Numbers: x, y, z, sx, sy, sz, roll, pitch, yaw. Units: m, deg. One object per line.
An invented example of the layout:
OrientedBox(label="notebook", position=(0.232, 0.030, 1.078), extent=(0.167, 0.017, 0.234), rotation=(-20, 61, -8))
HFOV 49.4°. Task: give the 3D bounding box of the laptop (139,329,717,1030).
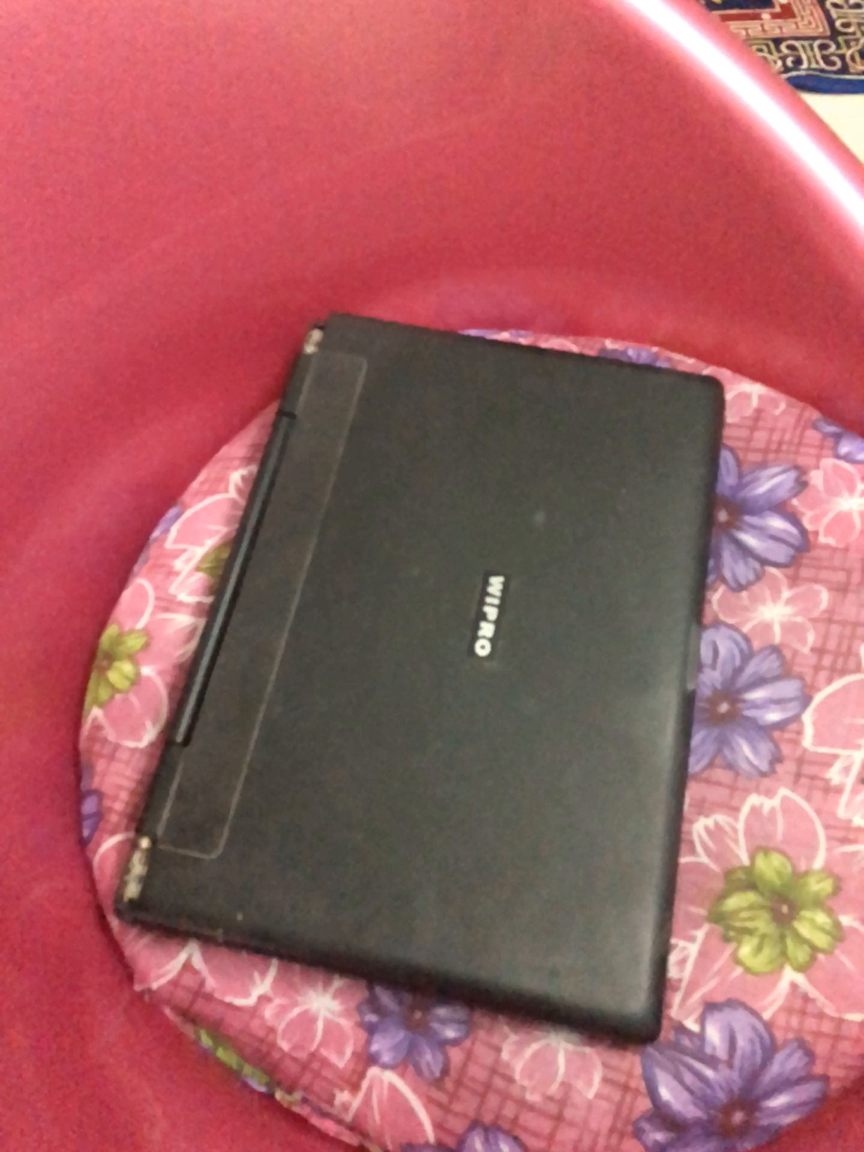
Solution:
OrientedBox(label="laptop", position=(0.014, 0.023, 0.464), extent=(0.220, 0.006, 0.323), rotation=(11, 66, 7))
